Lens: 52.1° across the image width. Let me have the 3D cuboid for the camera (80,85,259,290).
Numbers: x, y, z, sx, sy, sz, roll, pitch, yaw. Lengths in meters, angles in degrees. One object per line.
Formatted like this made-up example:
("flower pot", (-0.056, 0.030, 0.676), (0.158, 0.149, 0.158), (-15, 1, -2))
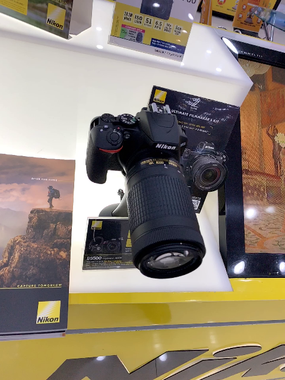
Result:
("camera", (0.005, -0.009, 0.304), (0.120, 0.100, 0.181), (2, 47, -18))
